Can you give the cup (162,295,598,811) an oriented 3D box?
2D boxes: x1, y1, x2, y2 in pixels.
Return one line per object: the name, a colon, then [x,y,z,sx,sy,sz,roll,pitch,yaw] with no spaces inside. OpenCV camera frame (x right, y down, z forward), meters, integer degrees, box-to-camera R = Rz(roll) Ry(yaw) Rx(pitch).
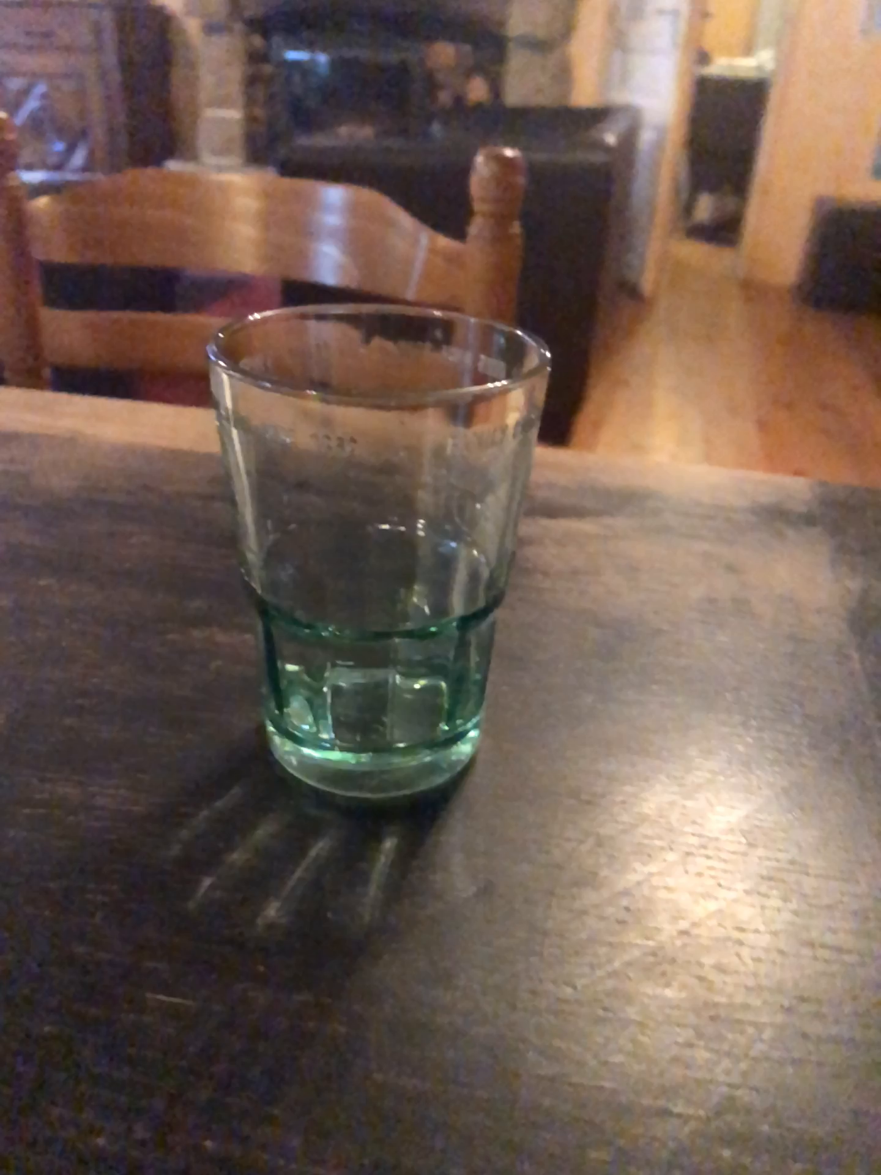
cup: [-0.012,-0.013,0.259,0.089,0.103,0.083,3,28,-1]
